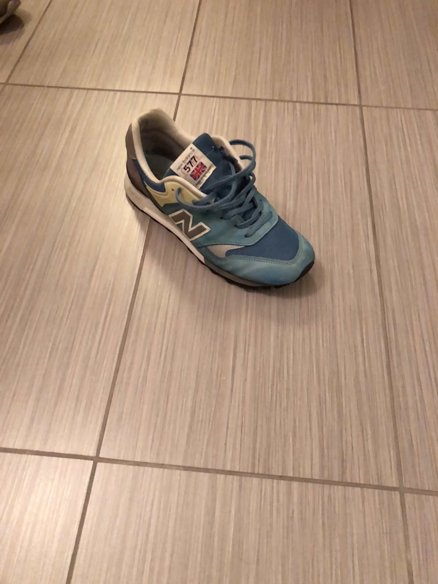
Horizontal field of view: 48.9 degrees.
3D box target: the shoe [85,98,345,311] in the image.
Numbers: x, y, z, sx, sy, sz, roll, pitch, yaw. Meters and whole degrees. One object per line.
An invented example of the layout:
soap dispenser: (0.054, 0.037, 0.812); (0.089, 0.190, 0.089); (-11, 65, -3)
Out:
shoe: (-0.012, -0.121, 0.605); (0.300, 0.070, 0.130); (37, 64, 22)
